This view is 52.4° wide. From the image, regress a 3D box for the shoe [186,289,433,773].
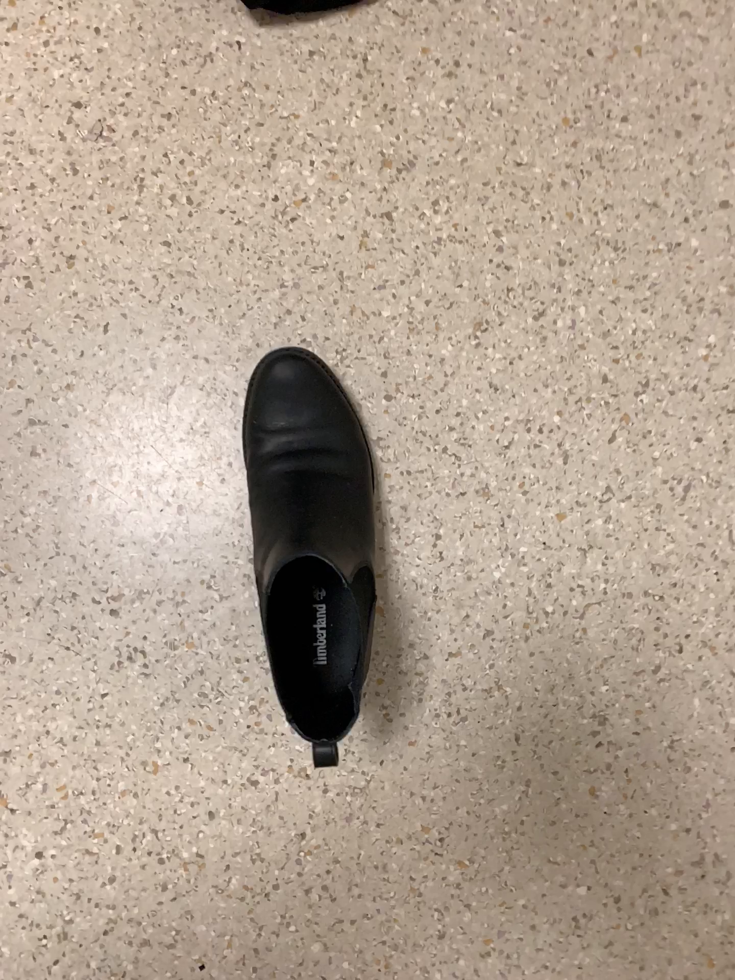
[{"bbox_3d":[-0.037,0.025,0.510,0.107,0.147,0.270,-8,86,-2],"label":"shoe"}]
